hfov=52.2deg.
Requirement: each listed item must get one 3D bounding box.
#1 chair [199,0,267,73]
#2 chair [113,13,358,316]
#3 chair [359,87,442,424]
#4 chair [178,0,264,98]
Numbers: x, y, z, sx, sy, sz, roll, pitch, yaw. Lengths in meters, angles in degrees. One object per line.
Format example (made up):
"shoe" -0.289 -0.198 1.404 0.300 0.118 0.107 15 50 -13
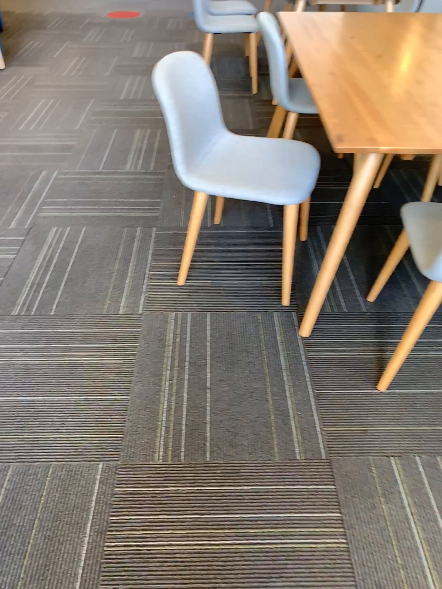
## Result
"chair" 0.083 -2.468 4.002 0.530 0.775 0.573 -1 41 -2
"chair" 0.099 -0.531 1.756 0.631 0.815 0.764 12 43 12
"chair" 0.796 -0.104 1.326 0.560 0.775 0.533 6 42 6
"chair" 0.007 -2.029 3.473 0.570 0.795 0.593 2 41 1
